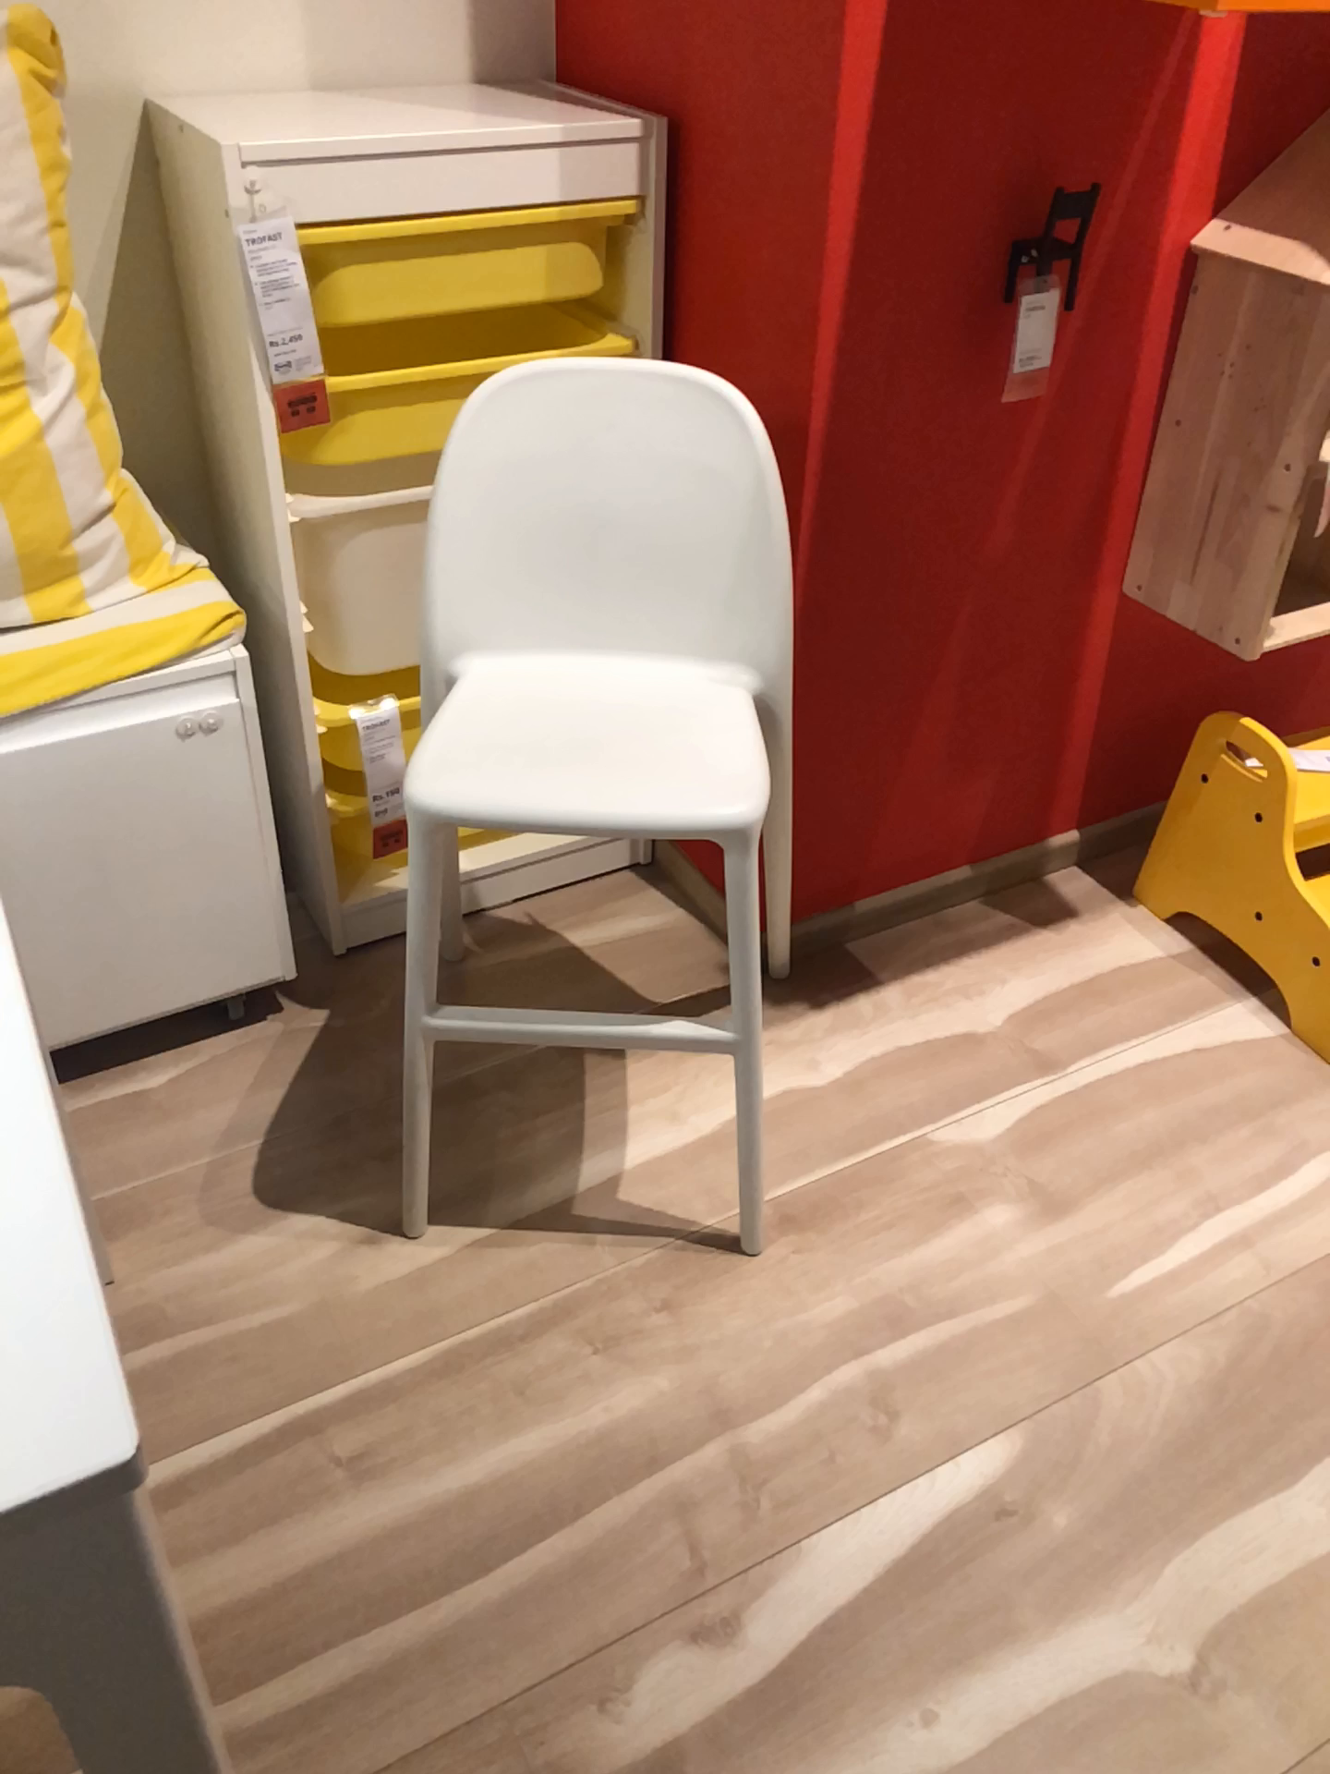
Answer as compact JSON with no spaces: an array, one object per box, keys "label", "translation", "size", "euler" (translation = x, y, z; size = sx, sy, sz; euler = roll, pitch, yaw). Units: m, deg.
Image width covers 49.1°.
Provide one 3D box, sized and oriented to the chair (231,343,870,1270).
[{"label":"chair","translation":[-0.078,-0.063,1.357],"size":[0.420,0.705,0.463],"euler":[2,39,0]}]
